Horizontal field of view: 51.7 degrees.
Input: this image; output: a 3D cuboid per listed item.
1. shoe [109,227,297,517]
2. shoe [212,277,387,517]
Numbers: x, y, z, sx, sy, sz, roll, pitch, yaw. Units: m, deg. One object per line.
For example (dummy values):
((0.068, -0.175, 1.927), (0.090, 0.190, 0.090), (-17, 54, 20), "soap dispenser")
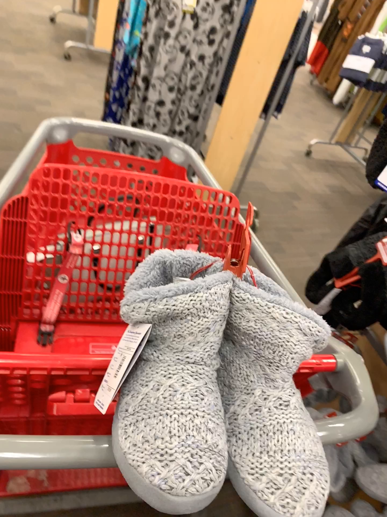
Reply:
((-0.012, 0.103, 0.405), (0.110, 0.139, 0.251), (9, 35, -14), "shoe")
((0.104, 0.145, 0.401), (0.110, 0.120, 0.231), (9, 35, -14), "shoe")
